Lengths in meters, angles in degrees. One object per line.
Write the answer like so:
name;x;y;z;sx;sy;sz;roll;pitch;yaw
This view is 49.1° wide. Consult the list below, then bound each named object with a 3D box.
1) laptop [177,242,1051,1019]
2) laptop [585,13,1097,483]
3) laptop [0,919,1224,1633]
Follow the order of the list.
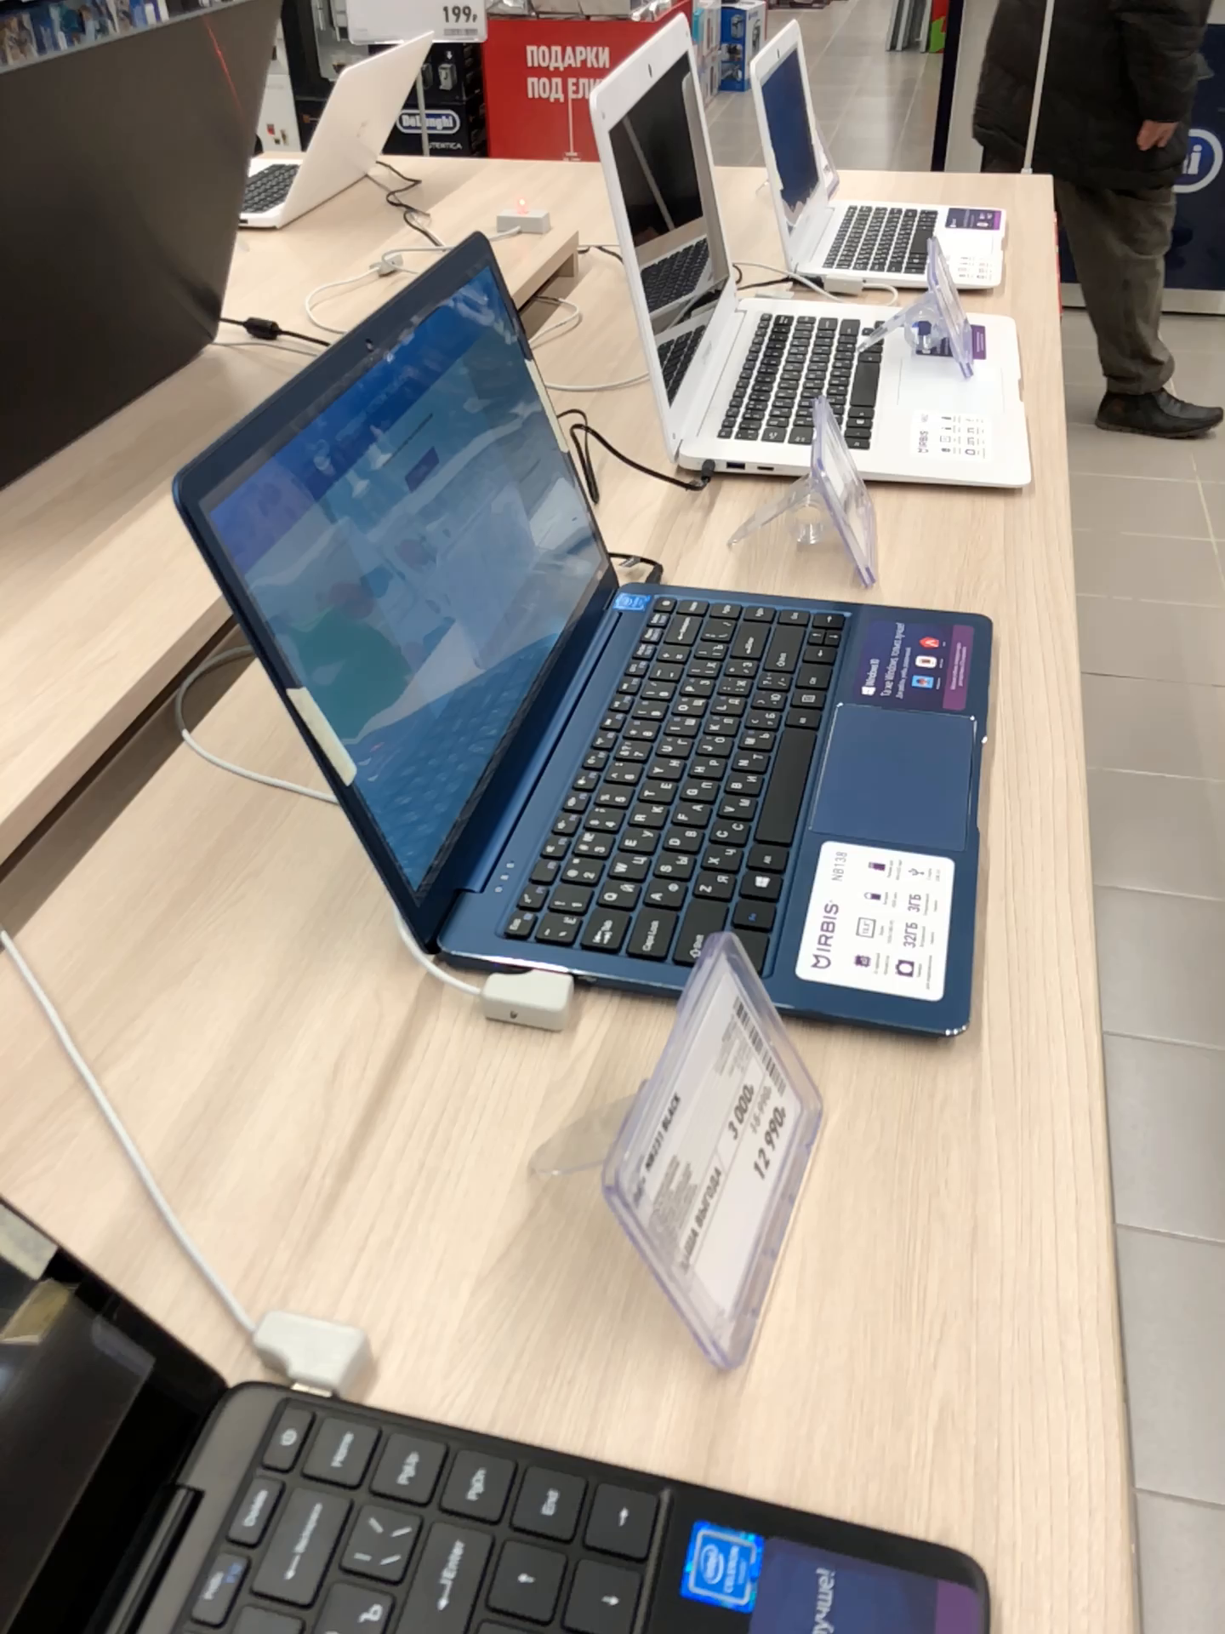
laptop;0.032;-0.107;0.580;0.270;0.185;0.311;7;37;12
laptop;0.157;-0.415;0.945;0.288;0.217;0.312;7;38;10
laptop;-0.100;0.187;0.194;0.327;0.155;0.302;7;36;10
